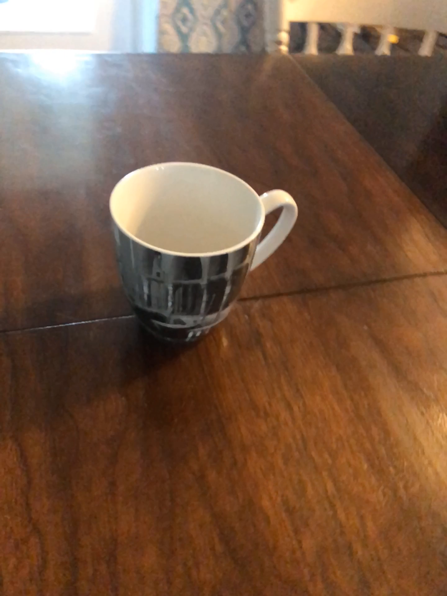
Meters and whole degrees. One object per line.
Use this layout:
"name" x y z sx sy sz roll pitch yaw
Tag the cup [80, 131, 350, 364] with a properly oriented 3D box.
"cup" -0.008 -0.042 0.343 0.140 0.080 0.100 -22 54 -27
